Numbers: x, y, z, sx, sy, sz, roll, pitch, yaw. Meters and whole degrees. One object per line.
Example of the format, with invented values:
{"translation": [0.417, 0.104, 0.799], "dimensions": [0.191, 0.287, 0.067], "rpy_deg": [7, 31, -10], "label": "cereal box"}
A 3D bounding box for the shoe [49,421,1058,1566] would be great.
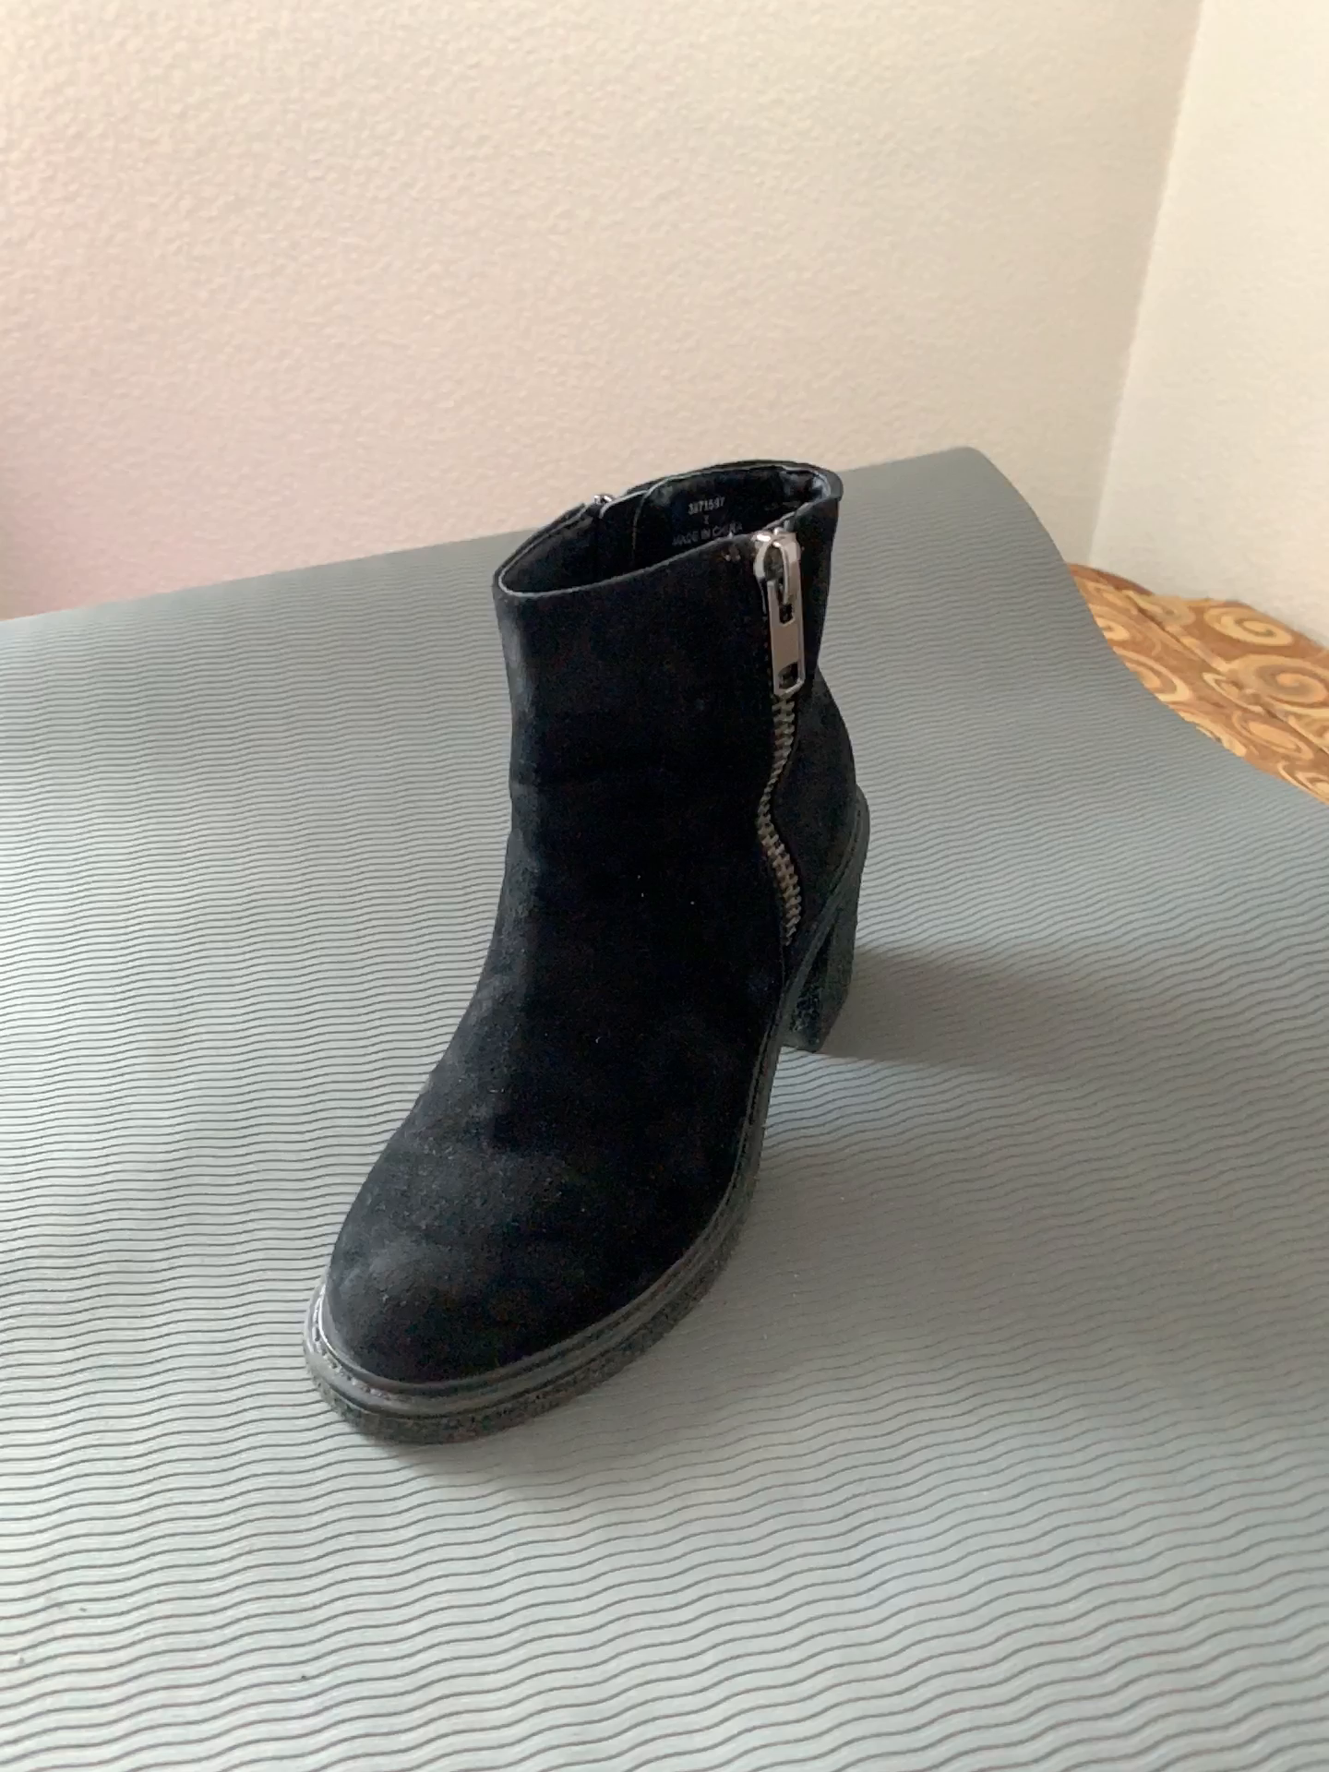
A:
{"translation": [-0.005, 0.005, 0.358], "dimensions": [0.098, 0.179, 0.241], "rpy_deg": [23, 40, 27], "label": "shoe"}
